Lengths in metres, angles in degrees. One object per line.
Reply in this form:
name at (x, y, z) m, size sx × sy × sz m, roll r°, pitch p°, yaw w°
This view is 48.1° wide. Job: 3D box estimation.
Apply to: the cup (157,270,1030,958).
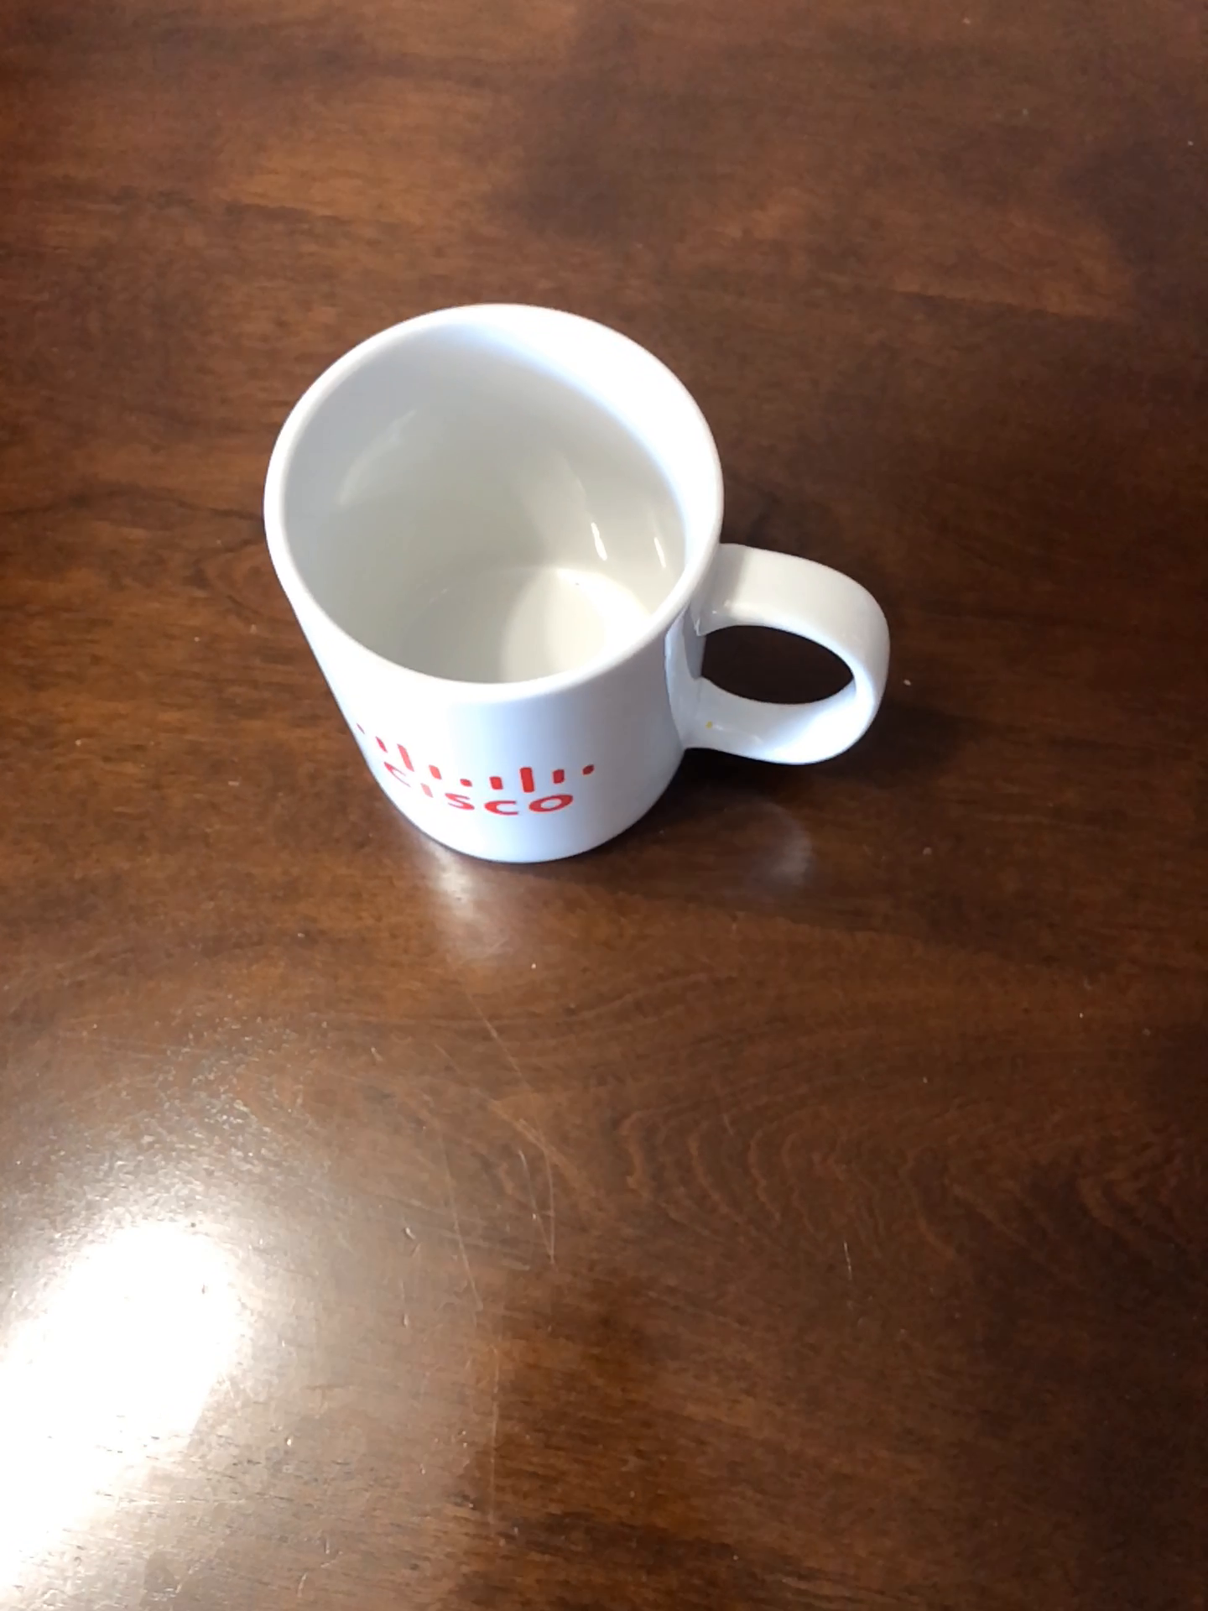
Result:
cup at (0.002, -0.031, 0.263) m, size 0.130 × 0.090 × 0.080 m, roll 10°, pitch 70°, yaw 5°
